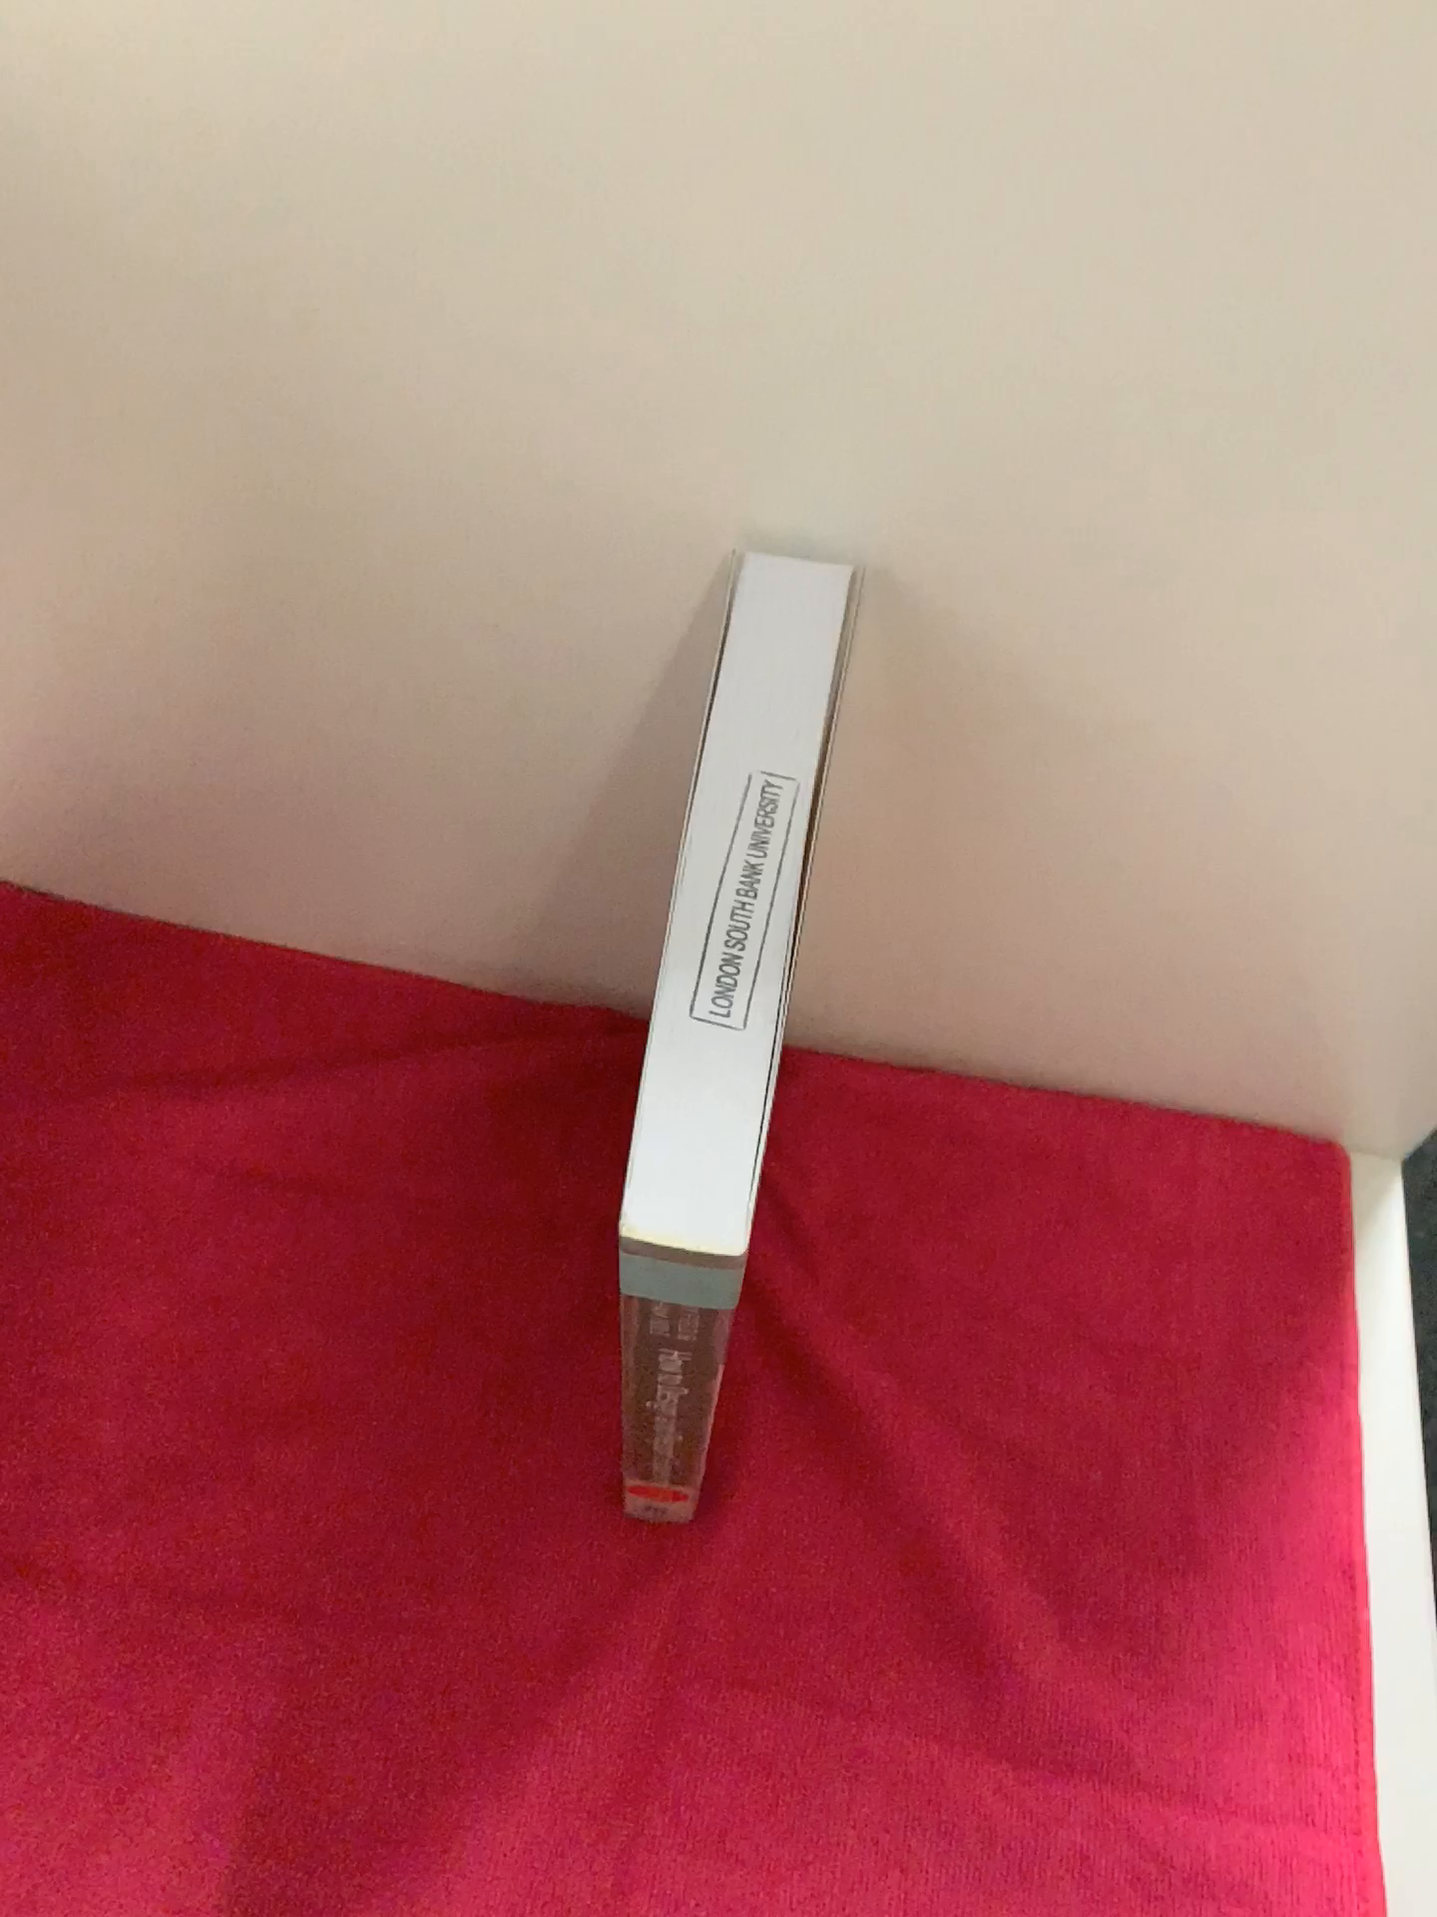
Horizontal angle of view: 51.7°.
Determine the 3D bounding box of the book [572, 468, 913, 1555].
[{"bbox_3d":[0.004,0.034,0.400,0.040,0.248,0.192,9,58,2],"label":"book"}]
